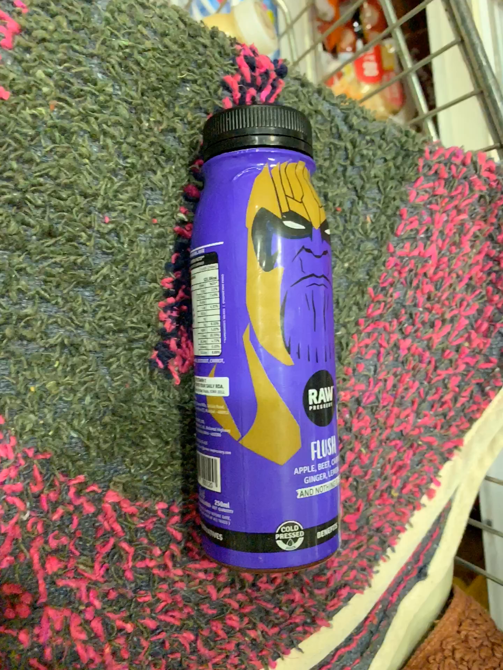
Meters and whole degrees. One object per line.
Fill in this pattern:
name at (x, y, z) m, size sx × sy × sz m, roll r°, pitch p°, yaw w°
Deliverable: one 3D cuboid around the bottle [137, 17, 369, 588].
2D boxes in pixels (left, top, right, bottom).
bottle at (0.000, -0.010, 0.194) m, size 0.060 × 0.050 × 0.170 m, roll 0°, pitch 86°, yaw -41°
